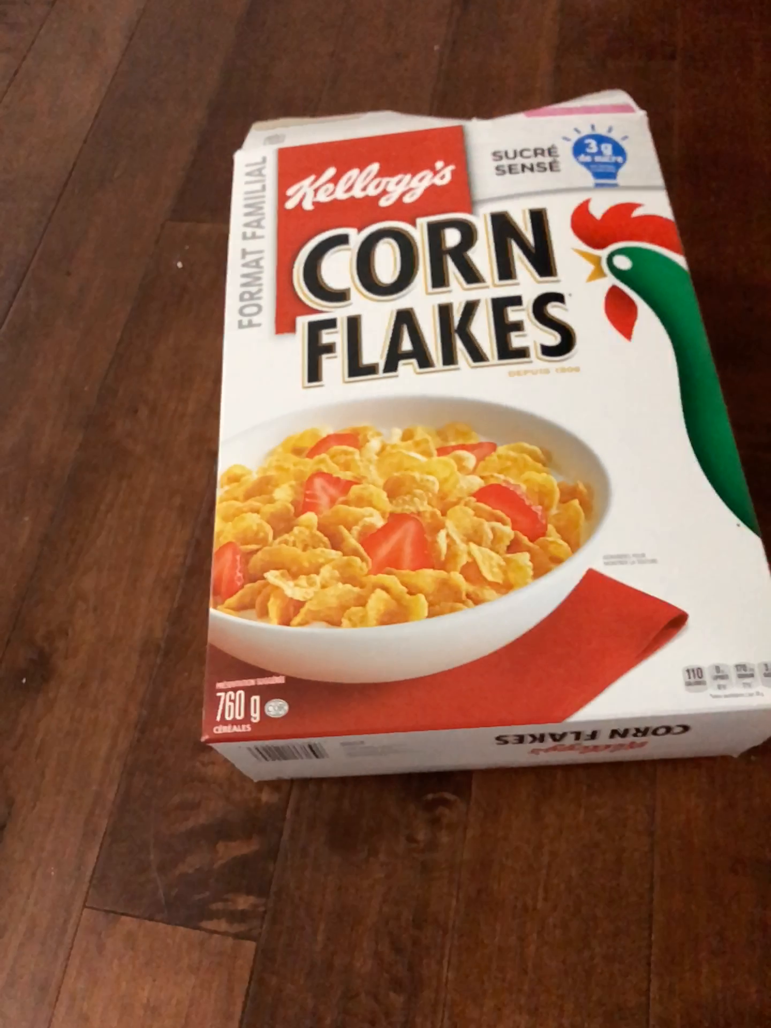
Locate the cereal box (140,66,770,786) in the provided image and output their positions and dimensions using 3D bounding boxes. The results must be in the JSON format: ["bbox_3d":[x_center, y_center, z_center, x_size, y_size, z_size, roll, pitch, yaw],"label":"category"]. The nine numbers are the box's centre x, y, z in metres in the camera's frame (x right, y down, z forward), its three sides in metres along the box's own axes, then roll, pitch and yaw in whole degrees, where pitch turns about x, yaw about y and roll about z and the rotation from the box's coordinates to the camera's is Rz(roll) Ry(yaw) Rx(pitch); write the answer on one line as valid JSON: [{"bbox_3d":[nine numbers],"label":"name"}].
[{"bbox_3d":[0.027,-0.062,0.468,0.260,0.090,0.380,-4,64,4],"label":"cereal box"}]
